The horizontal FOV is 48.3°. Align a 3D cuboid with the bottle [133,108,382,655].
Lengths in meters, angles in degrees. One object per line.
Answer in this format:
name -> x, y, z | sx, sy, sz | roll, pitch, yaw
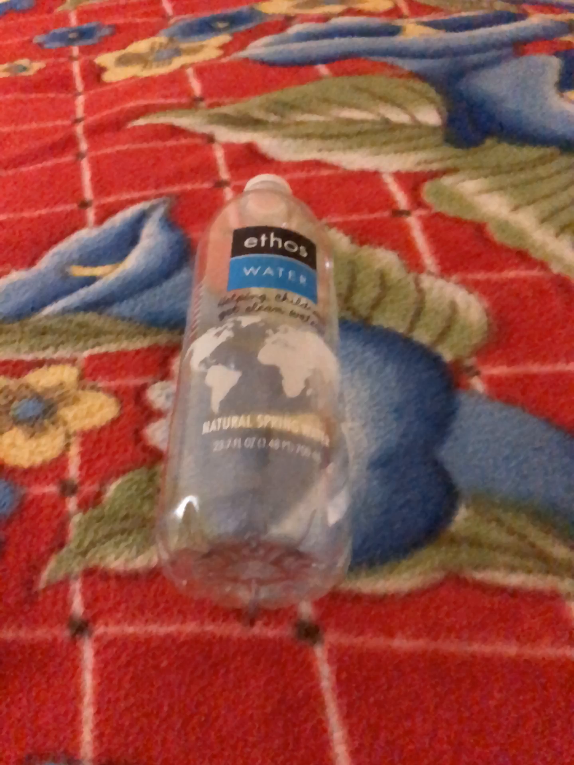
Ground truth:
bottle -> -0.015, -0.018, 0.281 | 0.070, 0.070, 0.240 | 7, 52, -9
